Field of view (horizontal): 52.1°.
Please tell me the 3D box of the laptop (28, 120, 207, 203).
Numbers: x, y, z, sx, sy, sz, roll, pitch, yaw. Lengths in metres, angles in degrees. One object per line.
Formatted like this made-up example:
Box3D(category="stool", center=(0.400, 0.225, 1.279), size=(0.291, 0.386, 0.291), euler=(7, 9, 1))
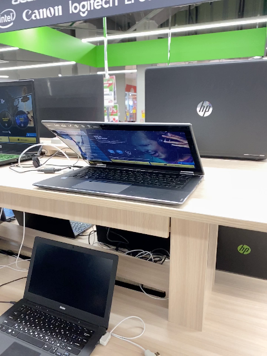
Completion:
Box3D(category="laptop", center=(-0.024, -0.059, 0.599), size=(0.320, 0.128, 0.217), euler=(5, 14, 23))
